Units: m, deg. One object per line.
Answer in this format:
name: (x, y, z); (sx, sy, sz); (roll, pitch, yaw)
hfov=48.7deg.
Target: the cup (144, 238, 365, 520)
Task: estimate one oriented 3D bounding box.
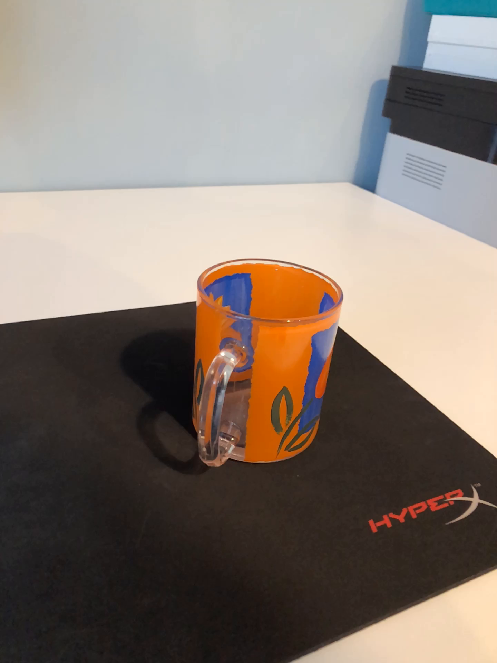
cup: (0.007, 0.016, 0.296); (0.075, 0.089, 0.114); (15, 30, 16)
